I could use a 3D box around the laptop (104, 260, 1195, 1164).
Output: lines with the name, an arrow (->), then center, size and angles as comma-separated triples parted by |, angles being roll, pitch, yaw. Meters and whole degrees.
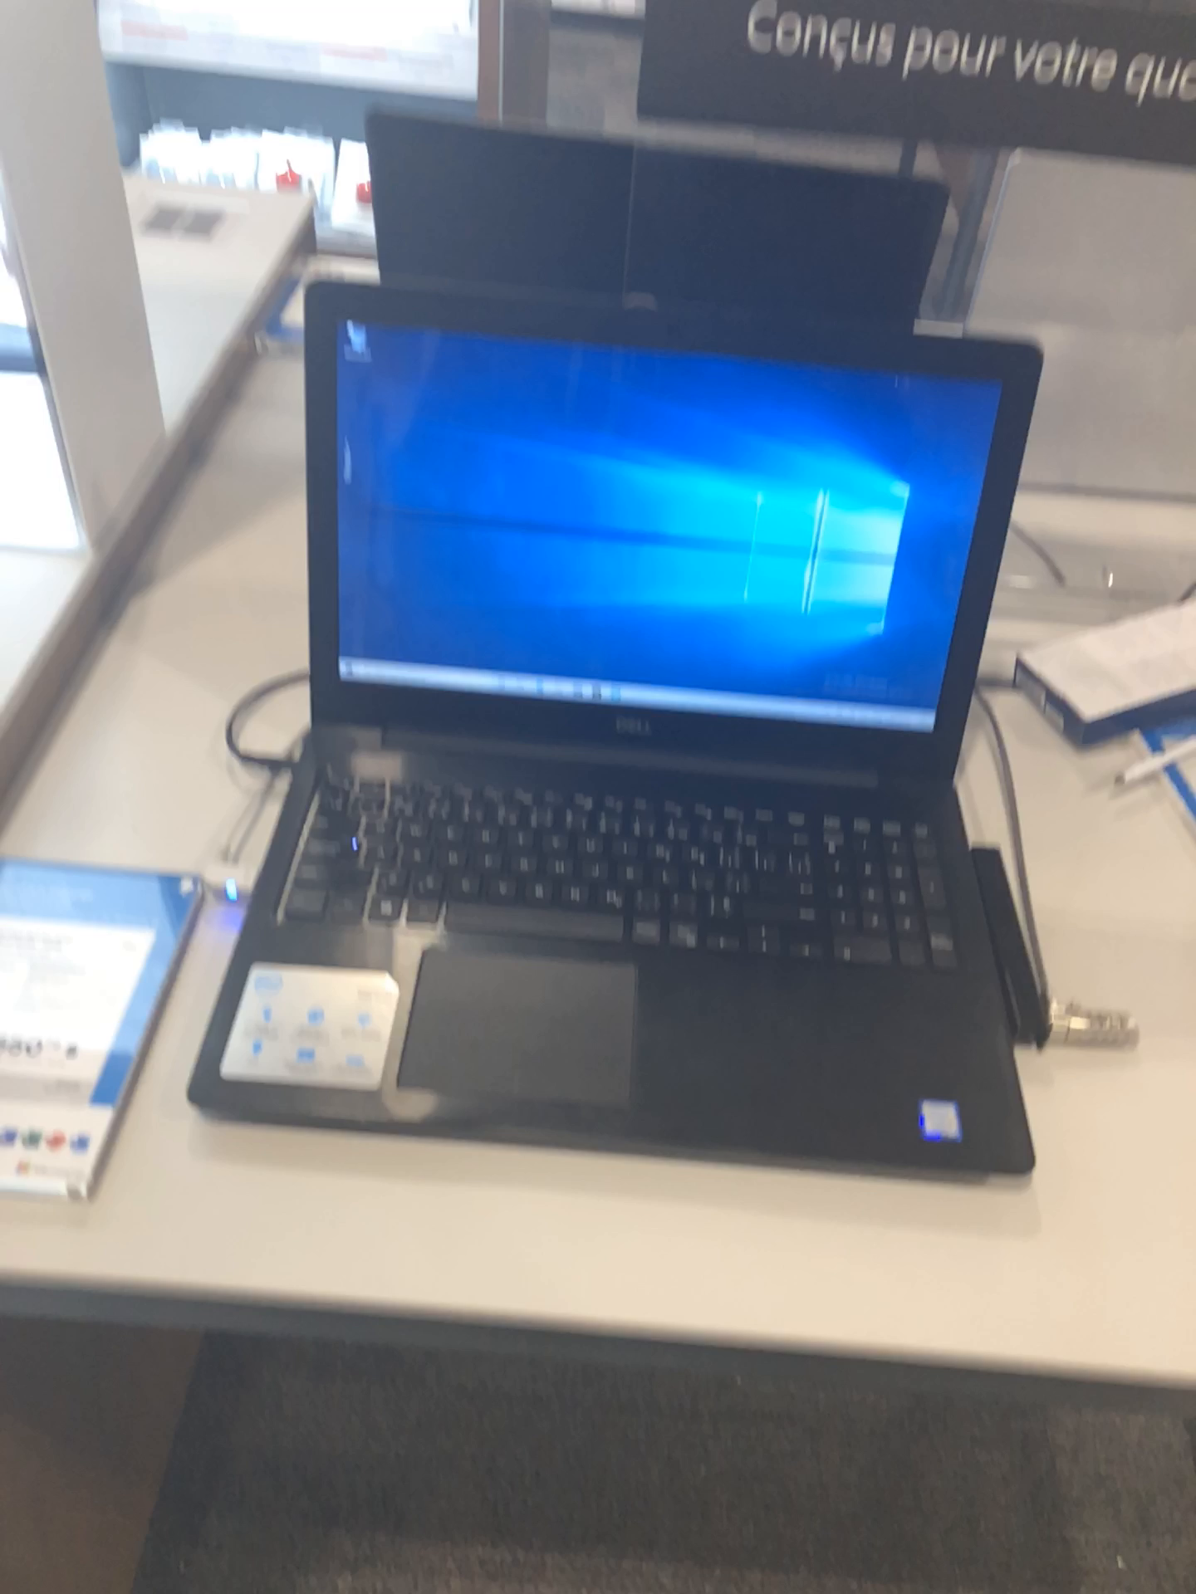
laptop -> 0.021, -0.055, 0.621 | 0.363, 0.224, 0.337 | 5, 45, 0
